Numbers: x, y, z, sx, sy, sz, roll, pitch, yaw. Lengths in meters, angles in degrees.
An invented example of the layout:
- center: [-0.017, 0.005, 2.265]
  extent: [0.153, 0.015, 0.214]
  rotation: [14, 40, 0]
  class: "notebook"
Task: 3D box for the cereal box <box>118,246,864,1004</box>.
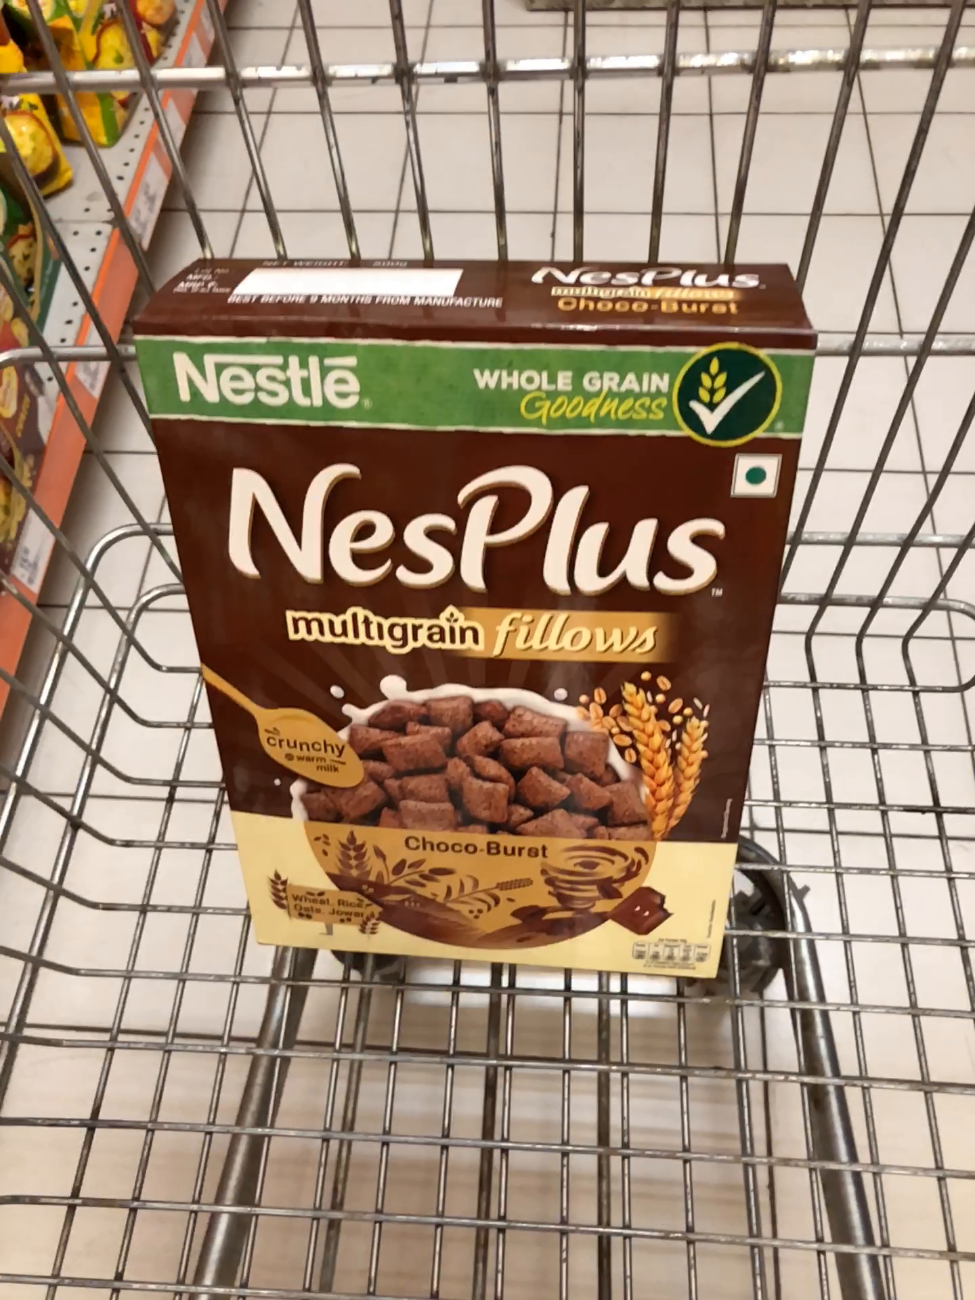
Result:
- center: [0.003, 0.004, 0.370]
  extent: [0.190, 0.259, 0.060]
  rotation: [3, 34, 6]
  class: "cereal box"
